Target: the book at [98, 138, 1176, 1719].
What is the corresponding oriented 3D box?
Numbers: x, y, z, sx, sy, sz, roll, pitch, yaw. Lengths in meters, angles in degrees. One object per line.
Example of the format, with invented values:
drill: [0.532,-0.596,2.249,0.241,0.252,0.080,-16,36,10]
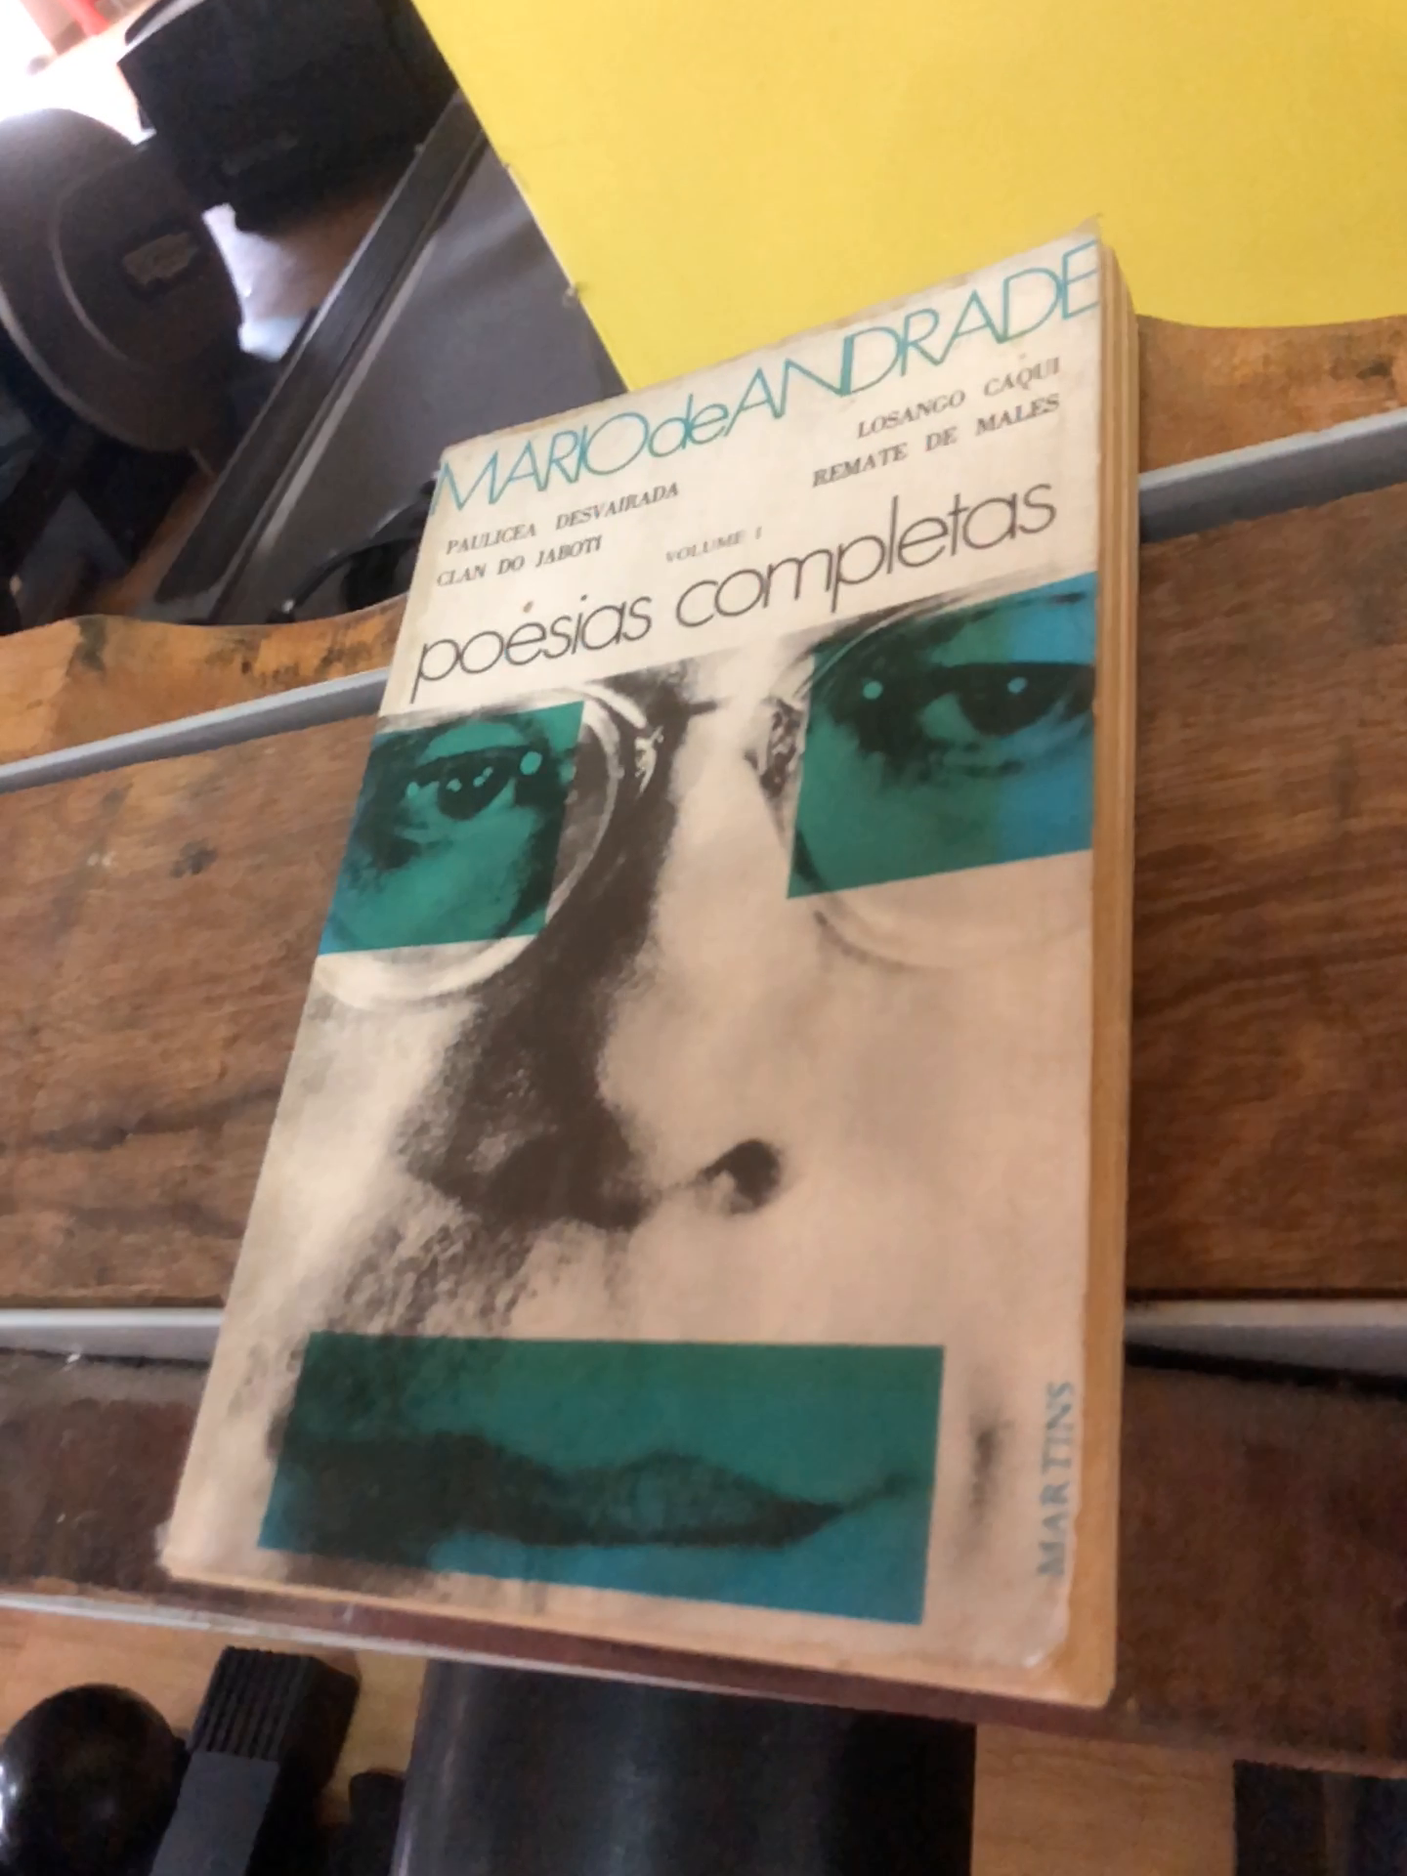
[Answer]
book: [-0.005,-0.012,0.230,0.140,0.020,0.210,-6,63,29]
